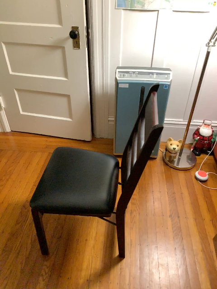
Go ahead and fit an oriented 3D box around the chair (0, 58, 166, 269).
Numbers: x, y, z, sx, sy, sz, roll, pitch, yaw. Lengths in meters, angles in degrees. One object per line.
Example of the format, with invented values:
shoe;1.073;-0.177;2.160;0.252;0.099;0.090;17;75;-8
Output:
chair;-0.112;0.118;1.055;0.550;0.865;0.493;3;38;3
